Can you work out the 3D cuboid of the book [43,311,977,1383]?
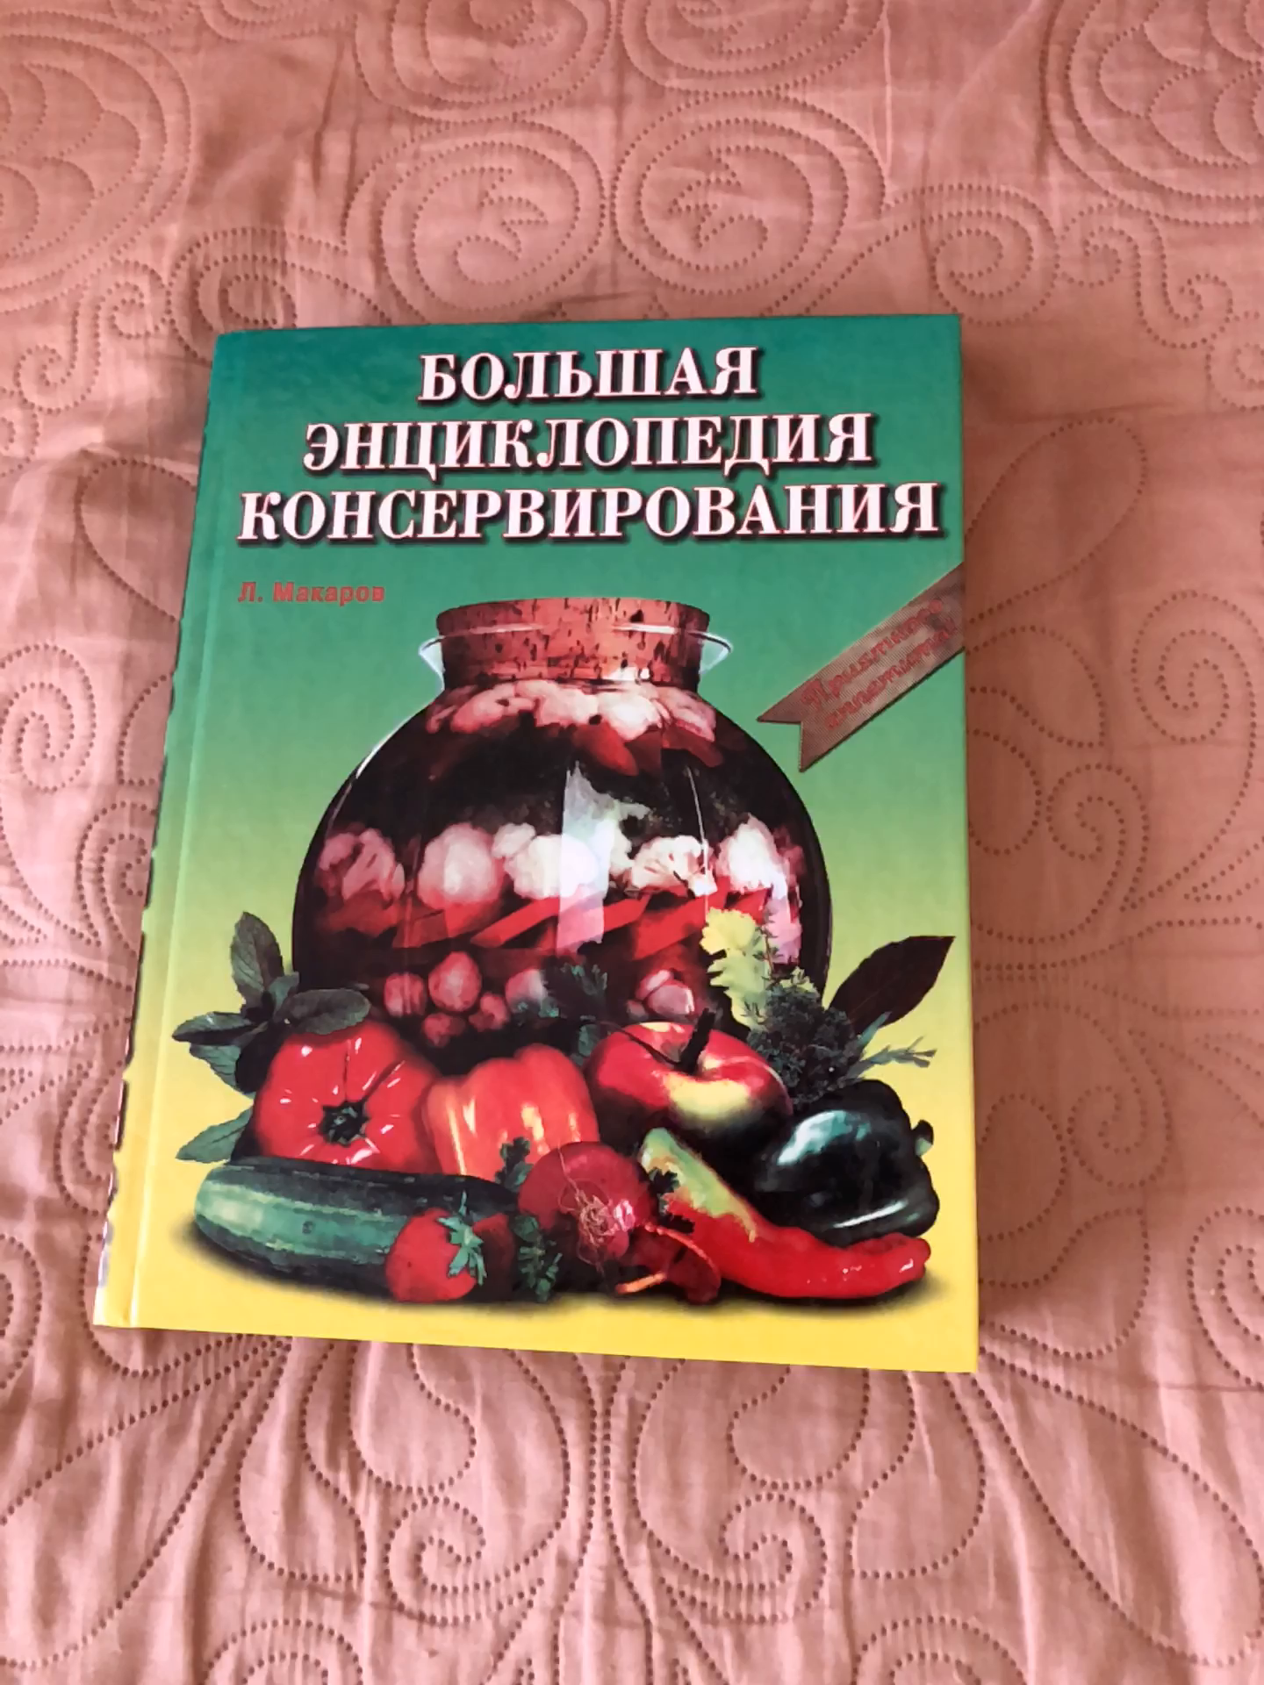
[{"bbox_3d":[-0.024,-0.007,0.376,0.216,0.050,0.273,1,75,5],"label":"book"}]
